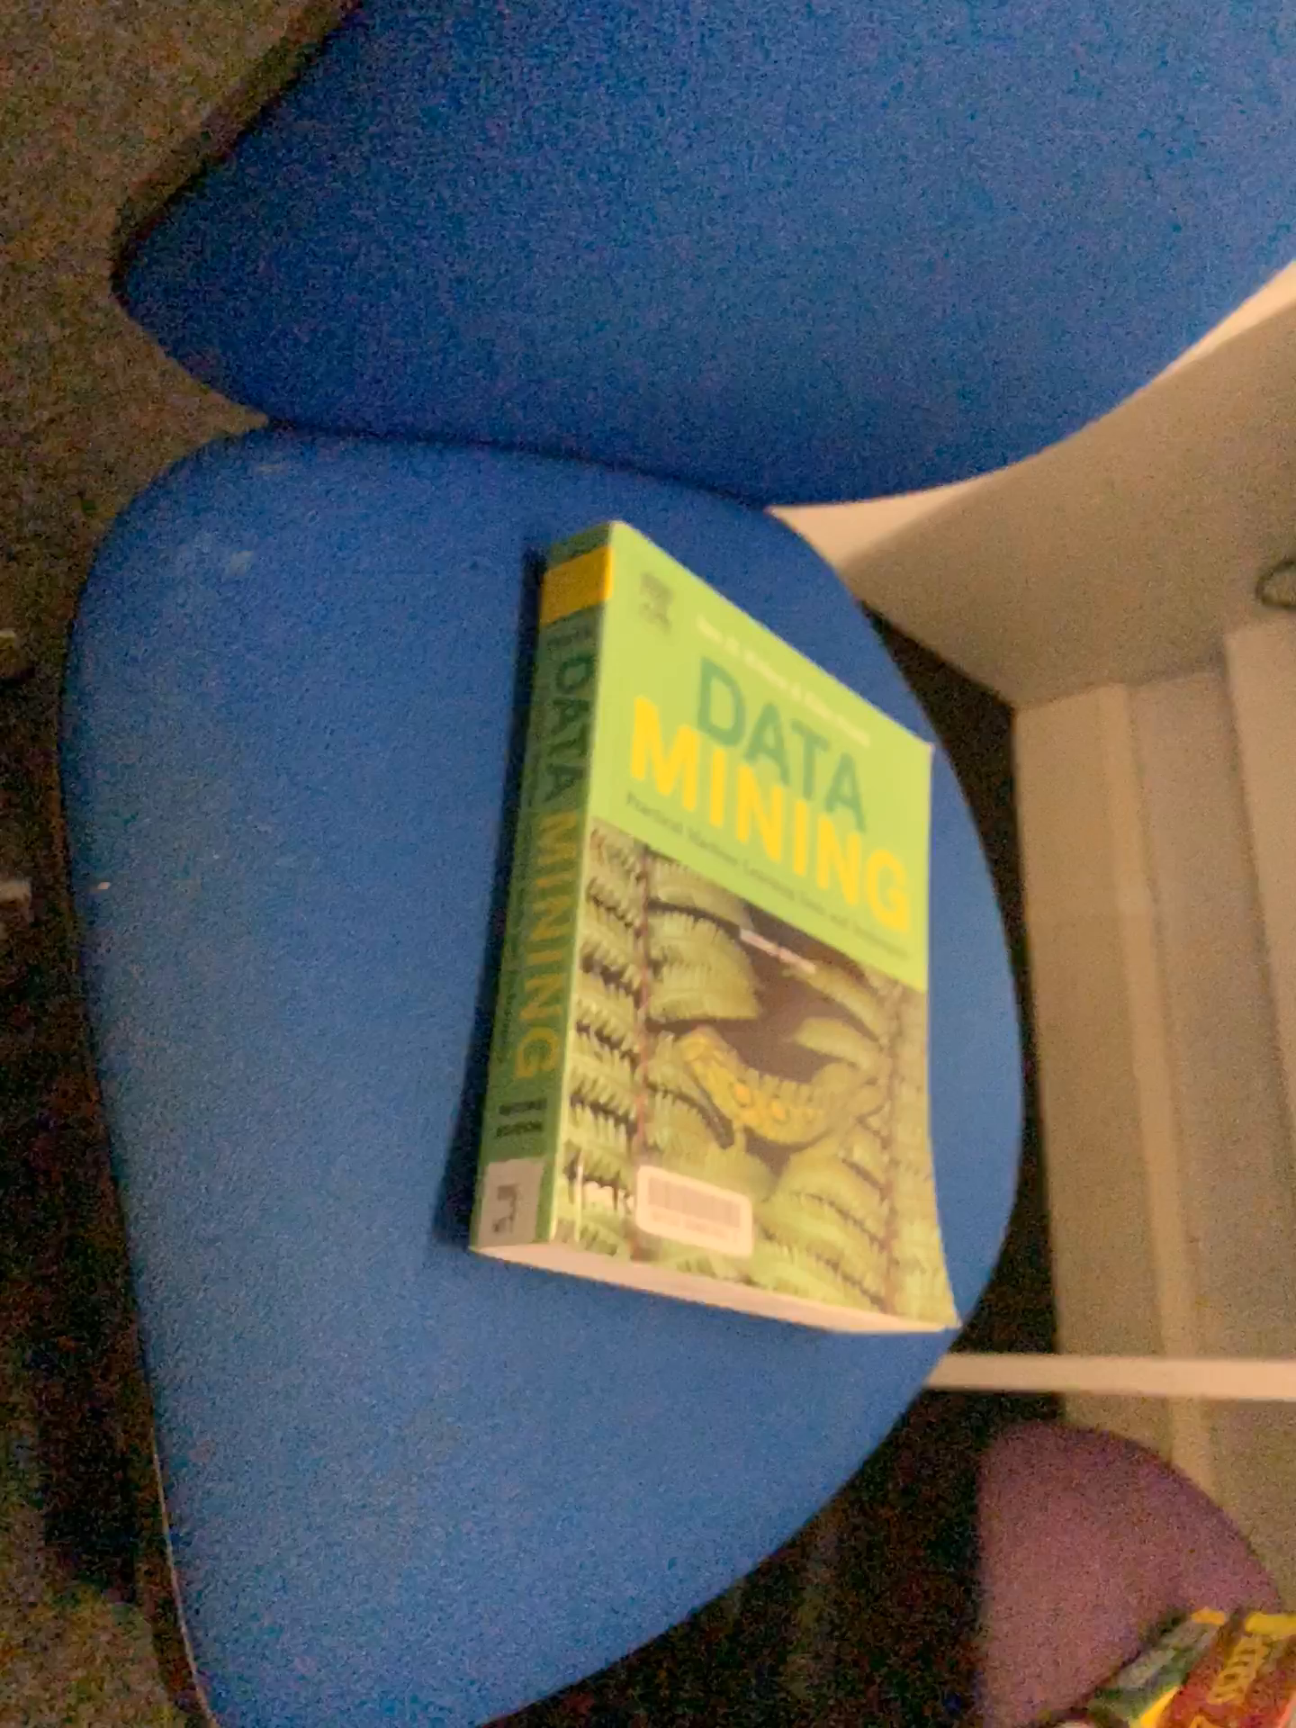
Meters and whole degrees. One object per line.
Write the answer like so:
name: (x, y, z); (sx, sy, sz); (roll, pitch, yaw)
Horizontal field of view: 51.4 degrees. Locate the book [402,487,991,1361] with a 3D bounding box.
book: (0.037, 0.033, 0.467); (0.221, 0.050, 0.241); (27, 58, -40)
